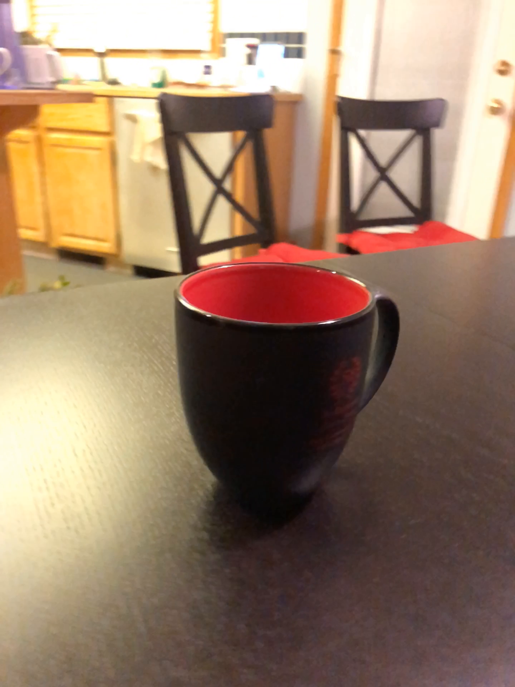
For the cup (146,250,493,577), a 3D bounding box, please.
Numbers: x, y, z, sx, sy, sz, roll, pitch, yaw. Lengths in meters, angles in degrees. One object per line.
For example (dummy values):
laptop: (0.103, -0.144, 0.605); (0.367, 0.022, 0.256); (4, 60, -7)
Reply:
cup: (0.028, 0.023, 0.307); (0.140, 0.109, 0.100); (-12, 27, -29)
